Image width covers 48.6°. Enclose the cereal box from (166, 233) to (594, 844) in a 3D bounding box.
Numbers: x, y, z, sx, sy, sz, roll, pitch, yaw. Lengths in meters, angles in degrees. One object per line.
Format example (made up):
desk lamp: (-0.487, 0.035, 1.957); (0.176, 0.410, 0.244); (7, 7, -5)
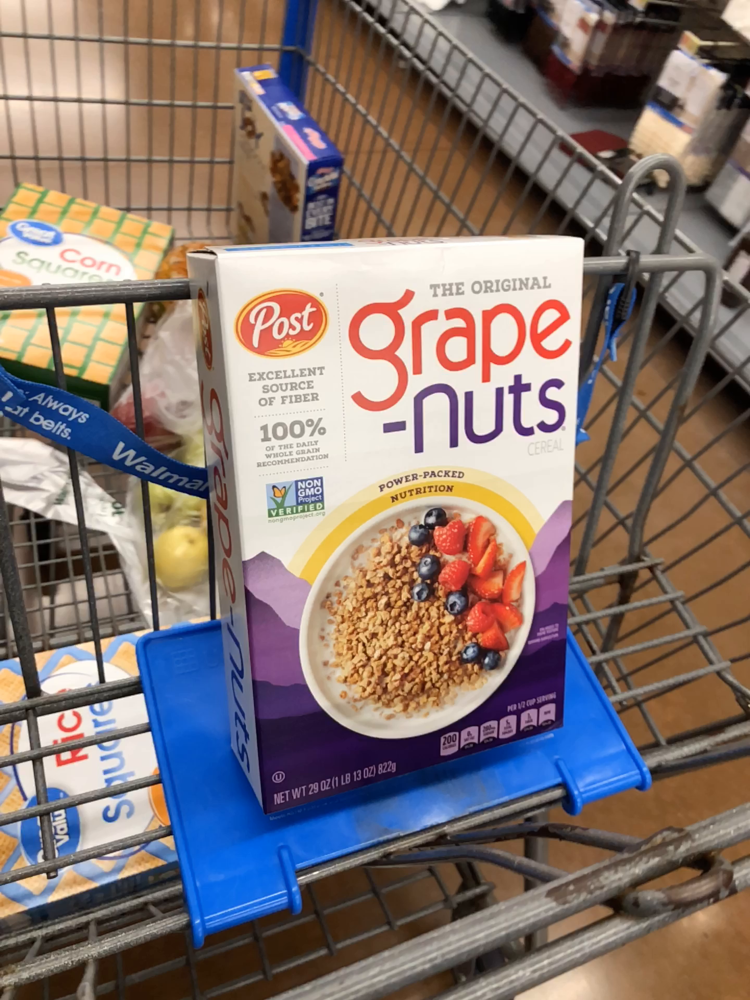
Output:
cereal box: (0.008, 0.012, 0.379); (0.170, 0.250, 0.050); (-9, 18, -22)
